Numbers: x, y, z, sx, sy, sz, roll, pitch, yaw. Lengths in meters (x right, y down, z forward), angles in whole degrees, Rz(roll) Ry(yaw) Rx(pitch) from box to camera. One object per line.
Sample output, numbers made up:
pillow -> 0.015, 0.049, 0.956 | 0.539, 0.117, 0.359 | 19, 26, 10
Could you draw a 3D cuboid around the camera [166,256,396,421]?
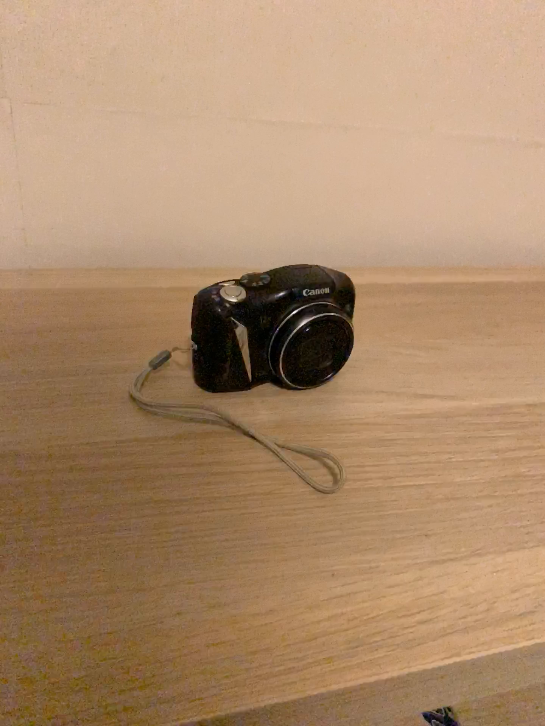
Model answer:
camera -> 0.004, -0.021, 0.352 | 0.120, 0.059, 0.068 | -13, 35, -30
